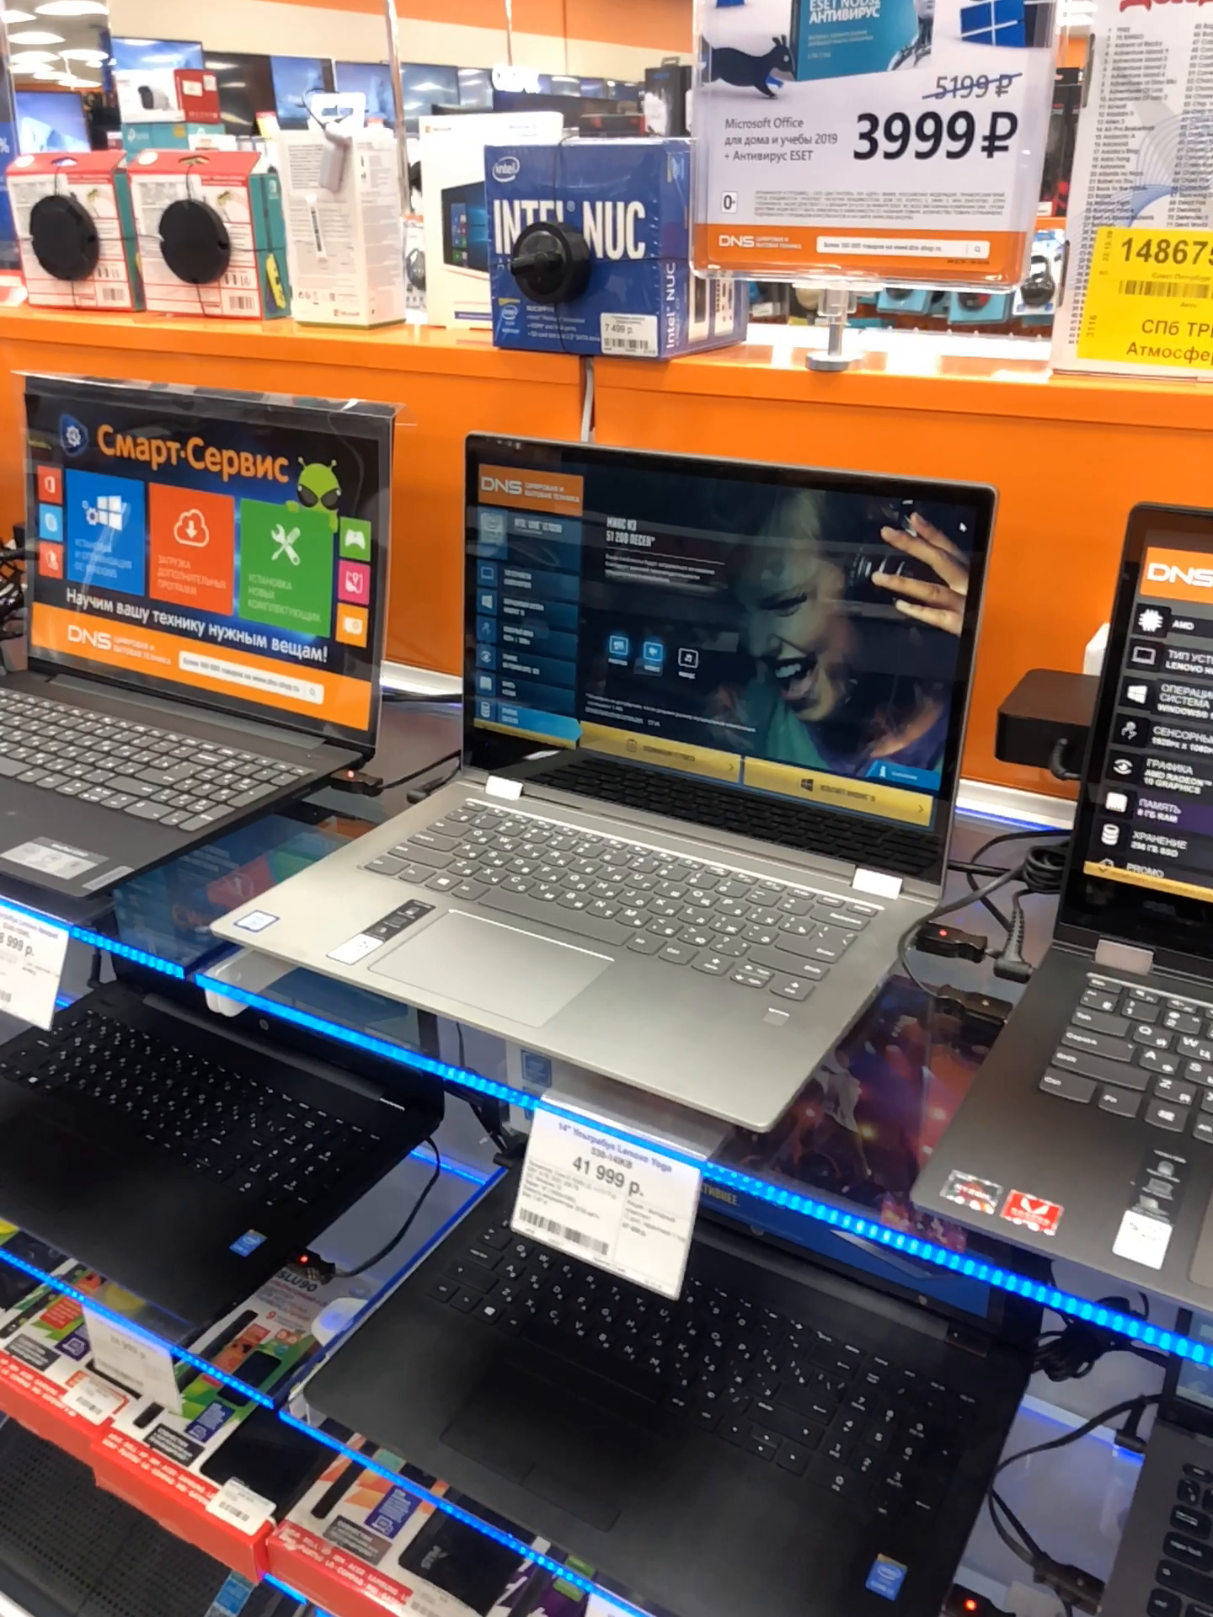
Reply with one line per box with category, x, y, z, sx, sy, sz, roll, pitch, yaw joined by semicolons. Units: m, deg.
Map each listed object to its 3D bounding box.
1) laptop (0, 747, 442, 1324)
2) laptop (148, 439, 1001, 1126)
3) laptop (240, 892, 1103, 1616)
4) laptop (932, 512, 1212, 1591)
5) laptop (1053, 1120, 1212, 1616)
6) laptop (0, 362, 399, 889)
laptop;-0.352;0.138;0.979;0.379;0.235;0.239;14;29;29
laptop;-0.009;-0.045;0.662;0.315;0.212;0.239;14;29;29
laptop;0.040;0.234;0.750;0.368;0.207;0.264;12;29;28
laptop;0.304;0.036;0.479;0.290;0.209;0.248;14;29;30
laptop;0.389;0.321;0.548;0.309;0.213;0.237;13;27;31
laptop;-0.352;-0.141;0.848;0.305;0.212;0.279;14;29;24
